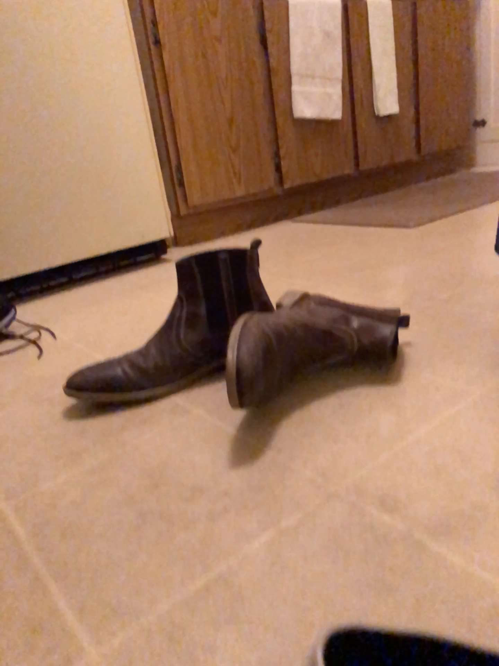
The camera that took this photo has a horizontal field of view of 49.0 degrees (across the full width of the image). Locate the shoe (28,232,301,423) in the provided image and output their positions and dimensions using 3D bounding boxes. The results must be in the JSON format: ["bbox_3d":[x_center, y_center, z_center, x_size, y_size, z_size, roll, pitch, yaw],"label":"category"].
[{"bbox_3d":[-0.106,-0.018,0.727,0.313,0.160,0.112,-14,20,-14],"label":"shoe"}]

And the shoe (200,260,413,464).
[{"bbox_3d":[0.091,0.009,0.648,0.161,0.111,0.314,2,22,23],"label":"shoe"}]
